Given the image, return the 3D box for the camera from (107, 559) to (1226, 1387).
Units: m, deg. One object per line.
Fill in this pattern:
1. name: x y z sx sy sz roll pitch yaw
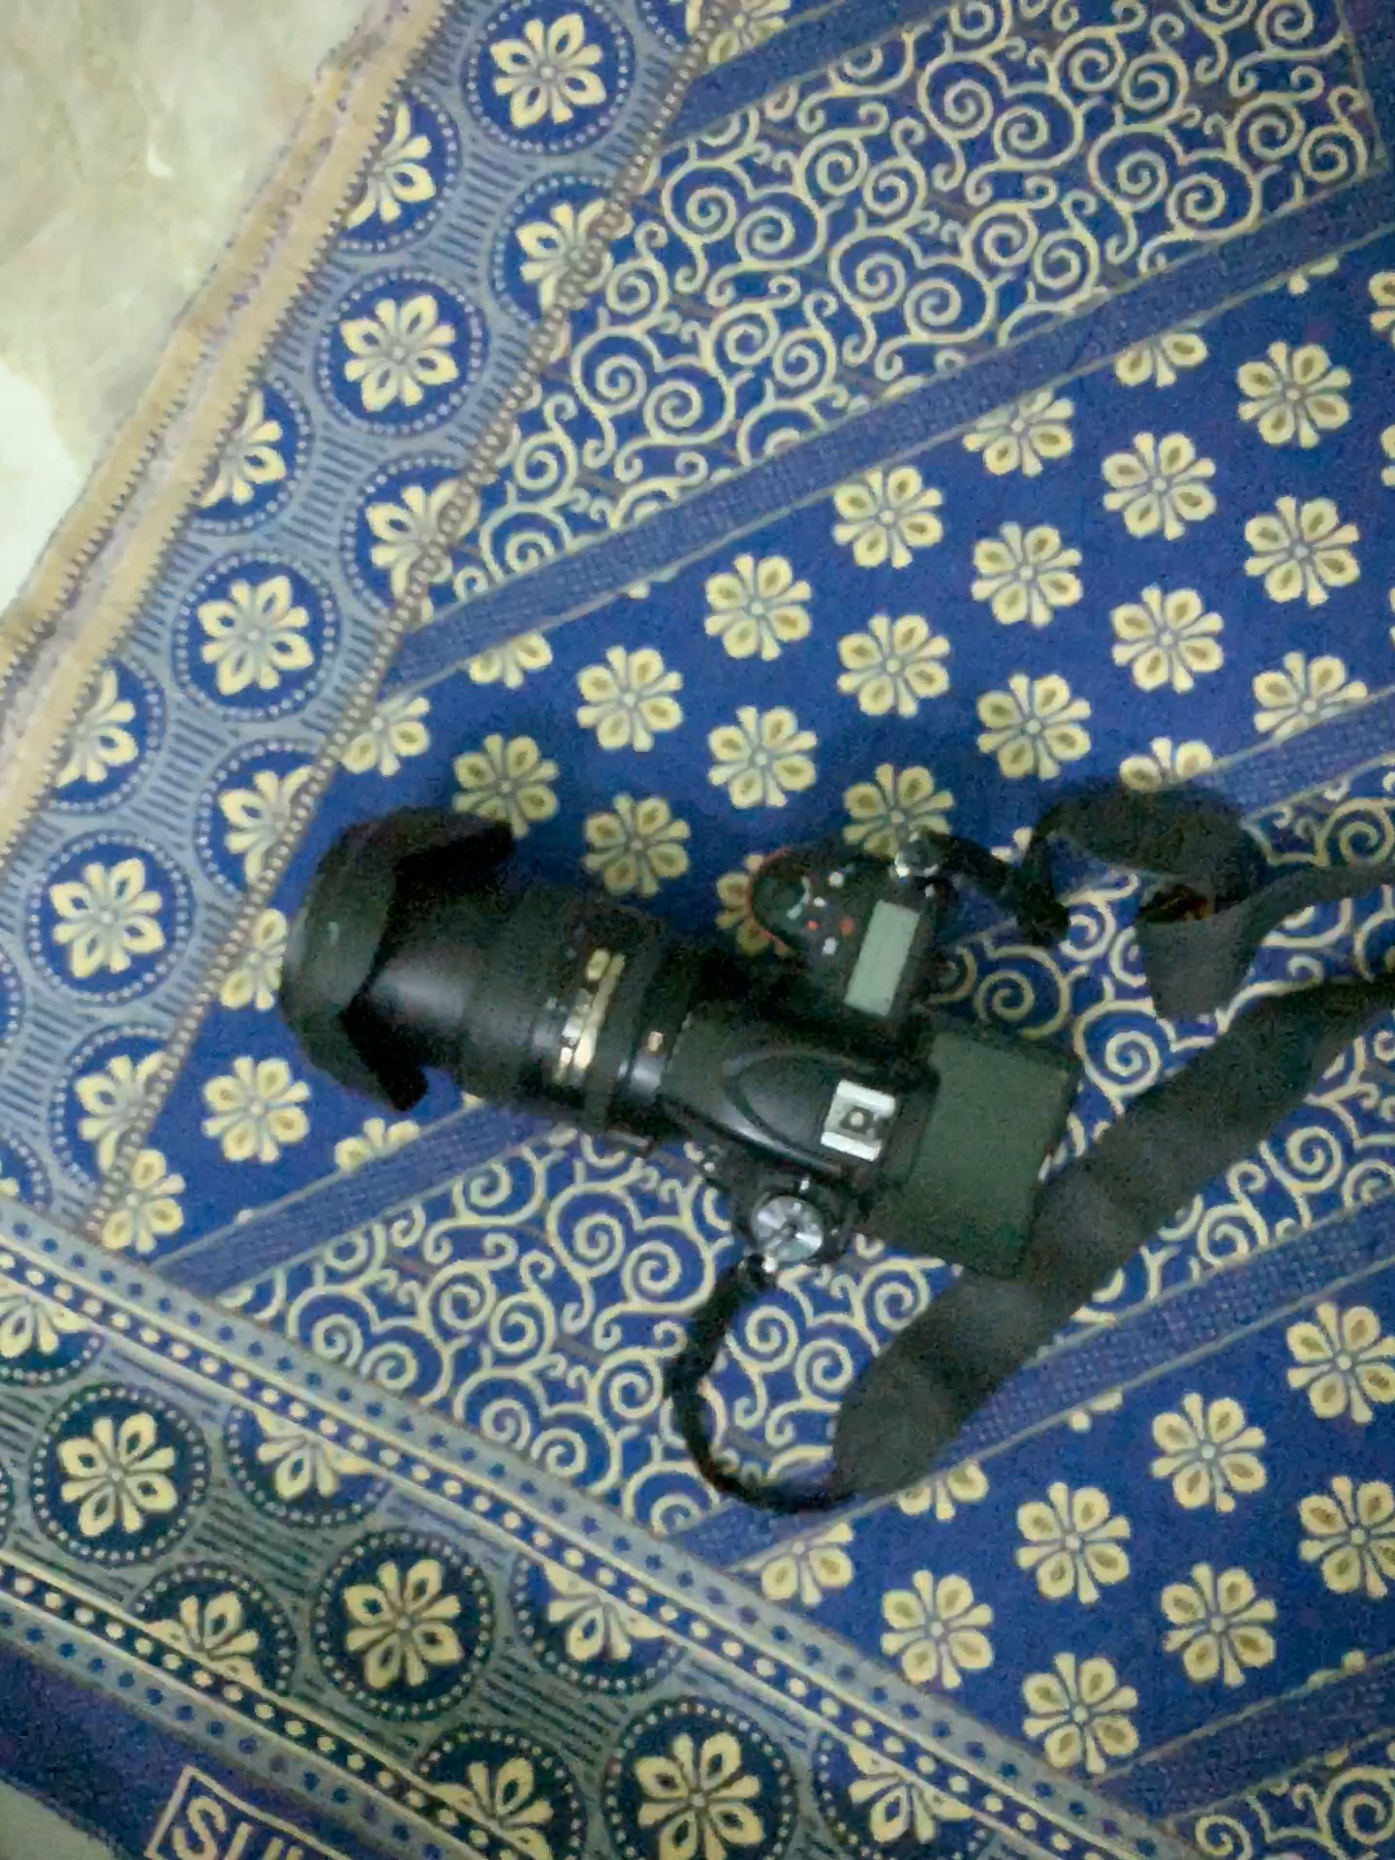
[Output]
1. camera: -0.011 0.011 0.510 0.320 0.110 0.160 20 89 7
